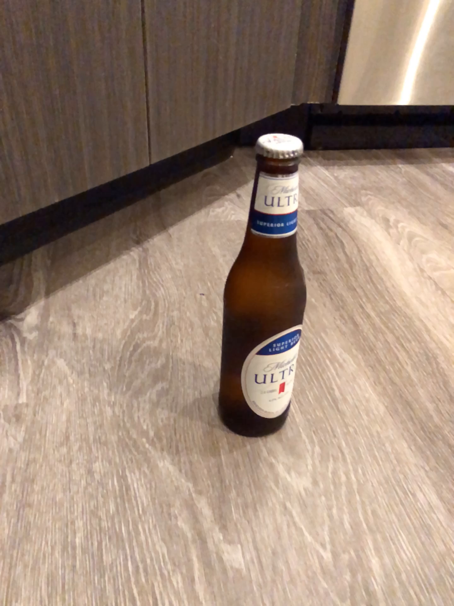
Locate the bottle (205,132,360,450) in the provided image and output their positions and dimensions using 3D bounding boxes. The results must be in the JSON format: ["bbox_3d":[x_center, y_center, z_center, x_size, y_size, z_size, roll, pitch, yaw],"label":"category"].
[{"bbox_3d":[0.028,0.000,0.345,0.060,0.209,0.060,2,35,-2],"label":"bottle"}]
